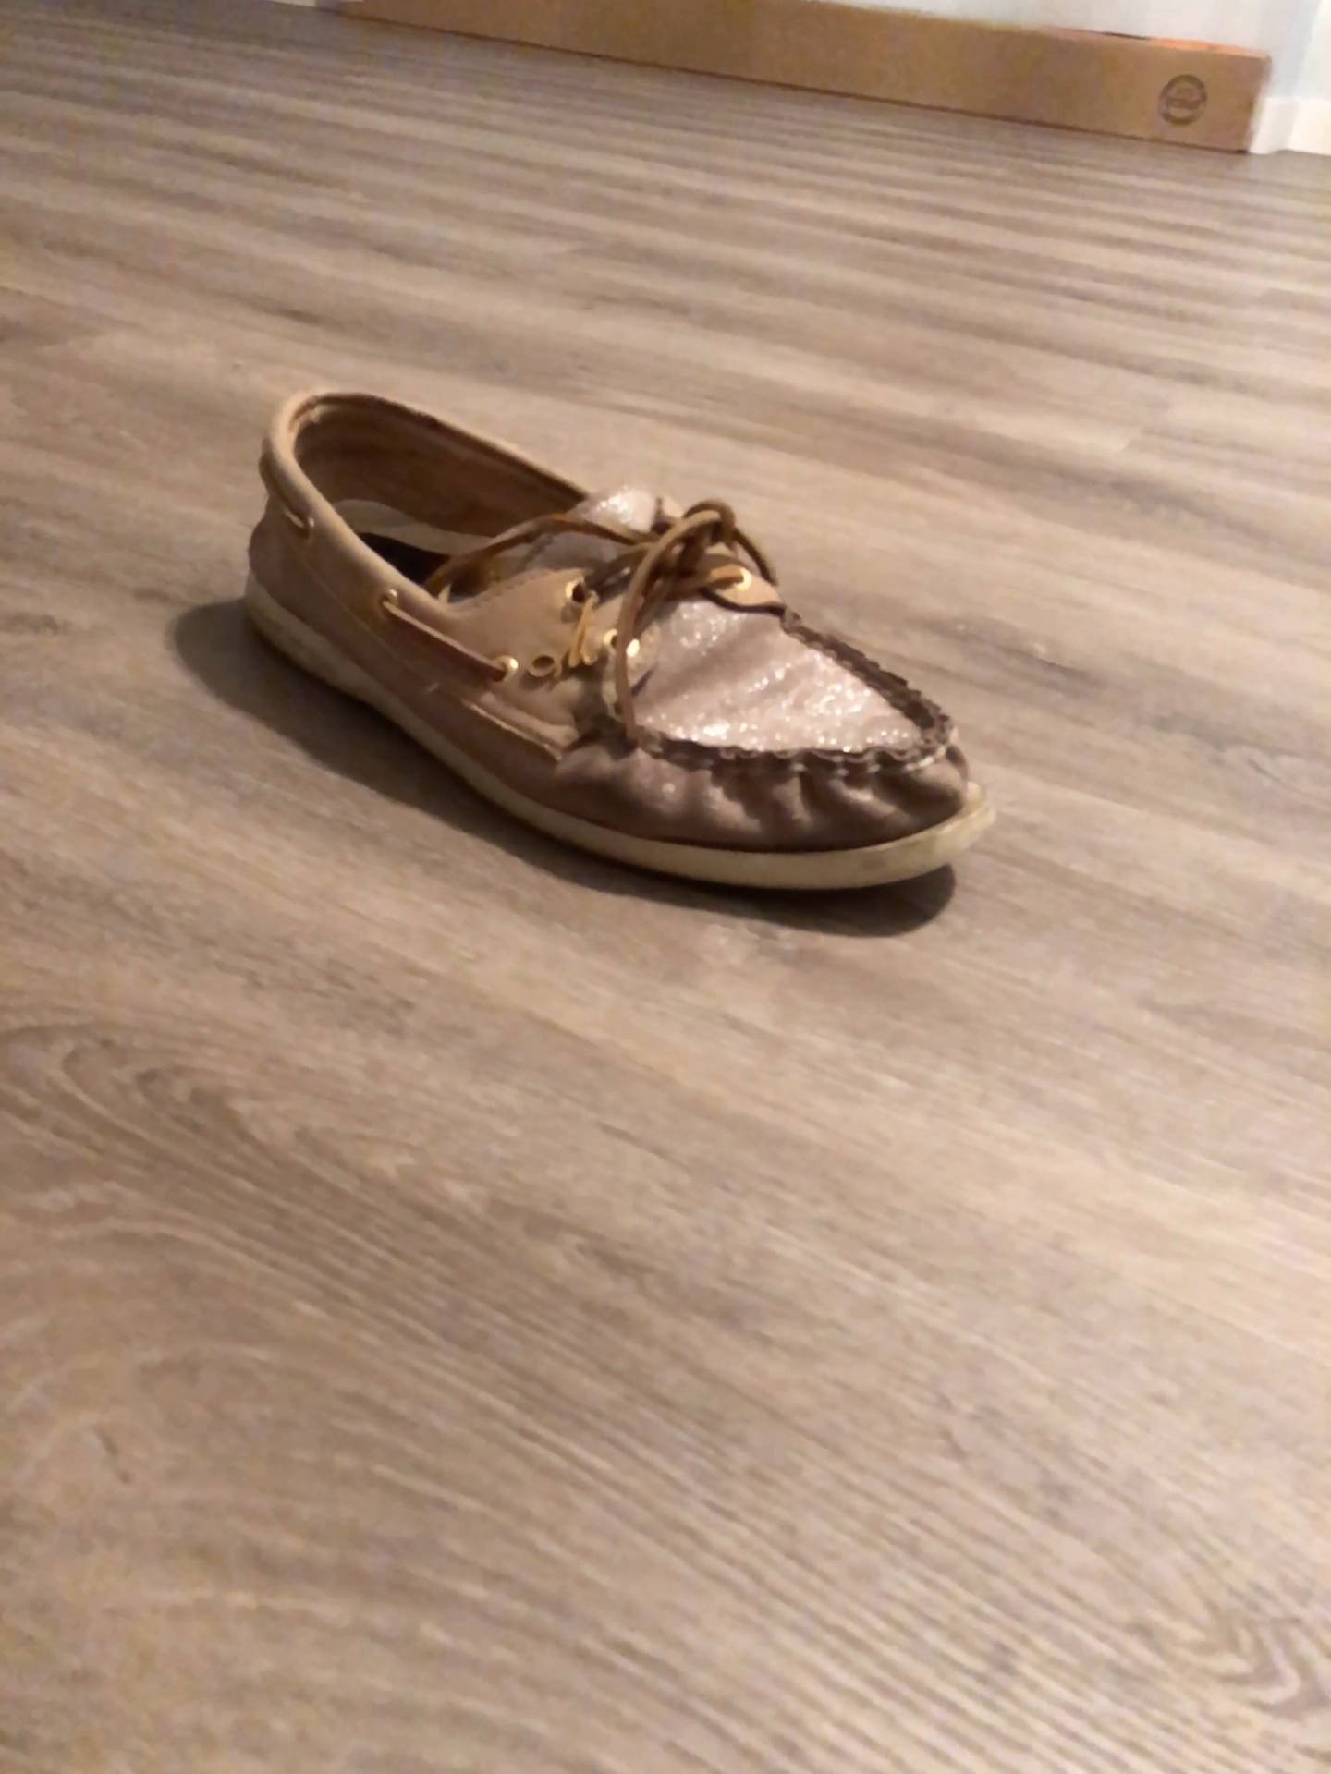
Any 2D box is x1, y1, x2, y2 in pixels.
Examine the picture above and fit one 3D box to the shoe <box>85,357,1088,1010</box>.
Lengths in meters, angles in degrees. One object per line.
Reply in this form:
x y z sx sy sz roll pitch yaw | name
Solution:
-0.033 -0.071 0.388 0.250 0.070 0.100 27 37 30 | shoe
